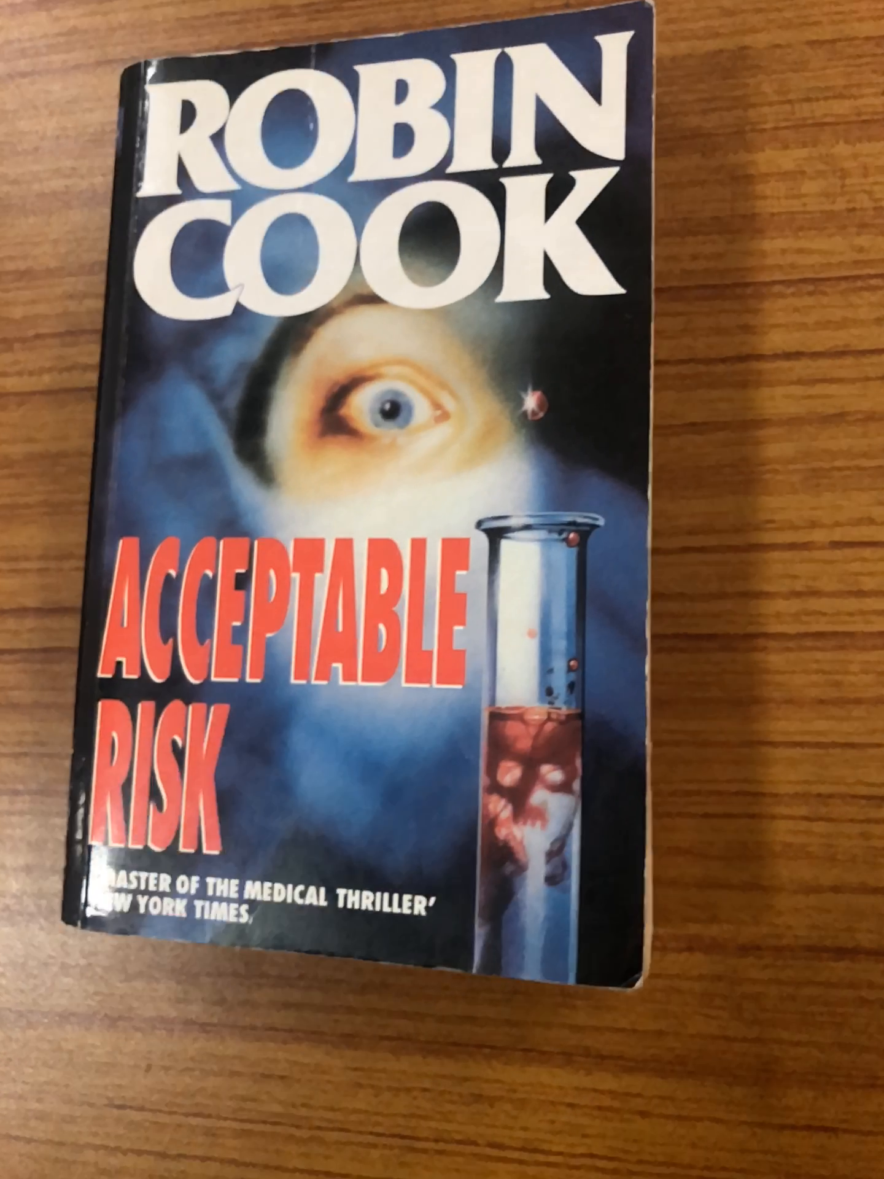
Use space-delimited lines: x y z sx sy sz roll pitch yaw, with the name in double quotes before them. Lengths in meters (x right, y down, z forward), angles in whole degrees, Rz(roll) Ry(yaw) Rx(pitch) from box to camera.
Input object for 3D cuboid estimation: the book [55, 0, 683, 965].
"book" -0.010 -0.022 0.200 0.110 0.040 0.170 1 84 11
